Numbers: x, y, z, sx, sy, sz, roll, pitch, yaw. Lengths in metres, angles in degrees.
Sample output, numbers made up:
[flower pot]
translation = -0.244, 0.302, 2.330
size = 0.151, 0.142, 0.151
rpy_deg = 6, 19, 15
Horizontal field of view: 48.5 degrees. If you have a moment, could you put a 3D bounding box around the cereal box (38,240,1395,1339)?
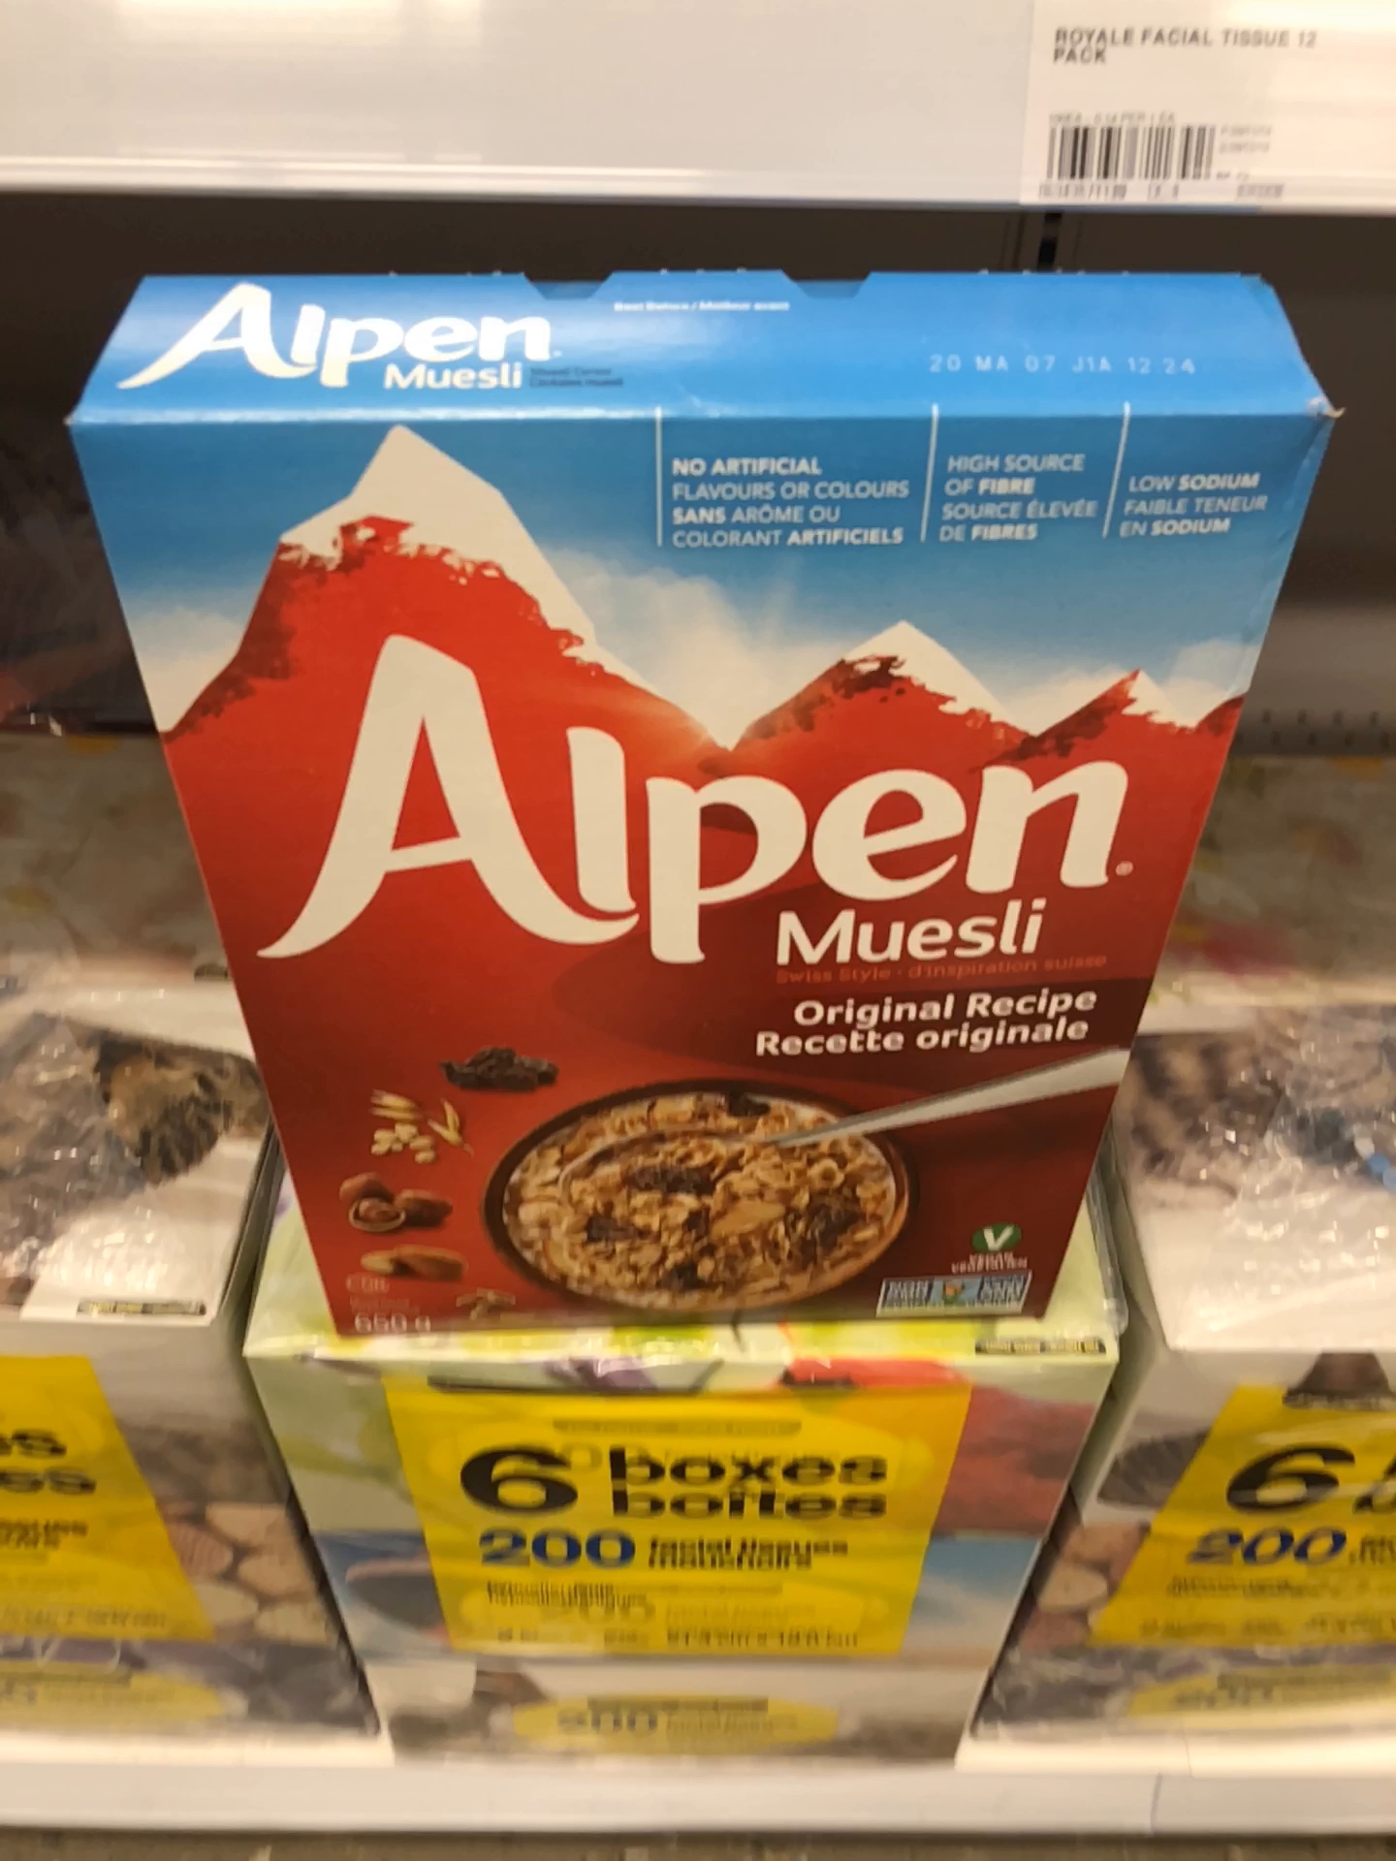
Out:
[cereal box]
translation = 0.004, -0.006, 0.297
size = 0.180, 0.230, 0.050
rpy_deg = -1, 46, -3
